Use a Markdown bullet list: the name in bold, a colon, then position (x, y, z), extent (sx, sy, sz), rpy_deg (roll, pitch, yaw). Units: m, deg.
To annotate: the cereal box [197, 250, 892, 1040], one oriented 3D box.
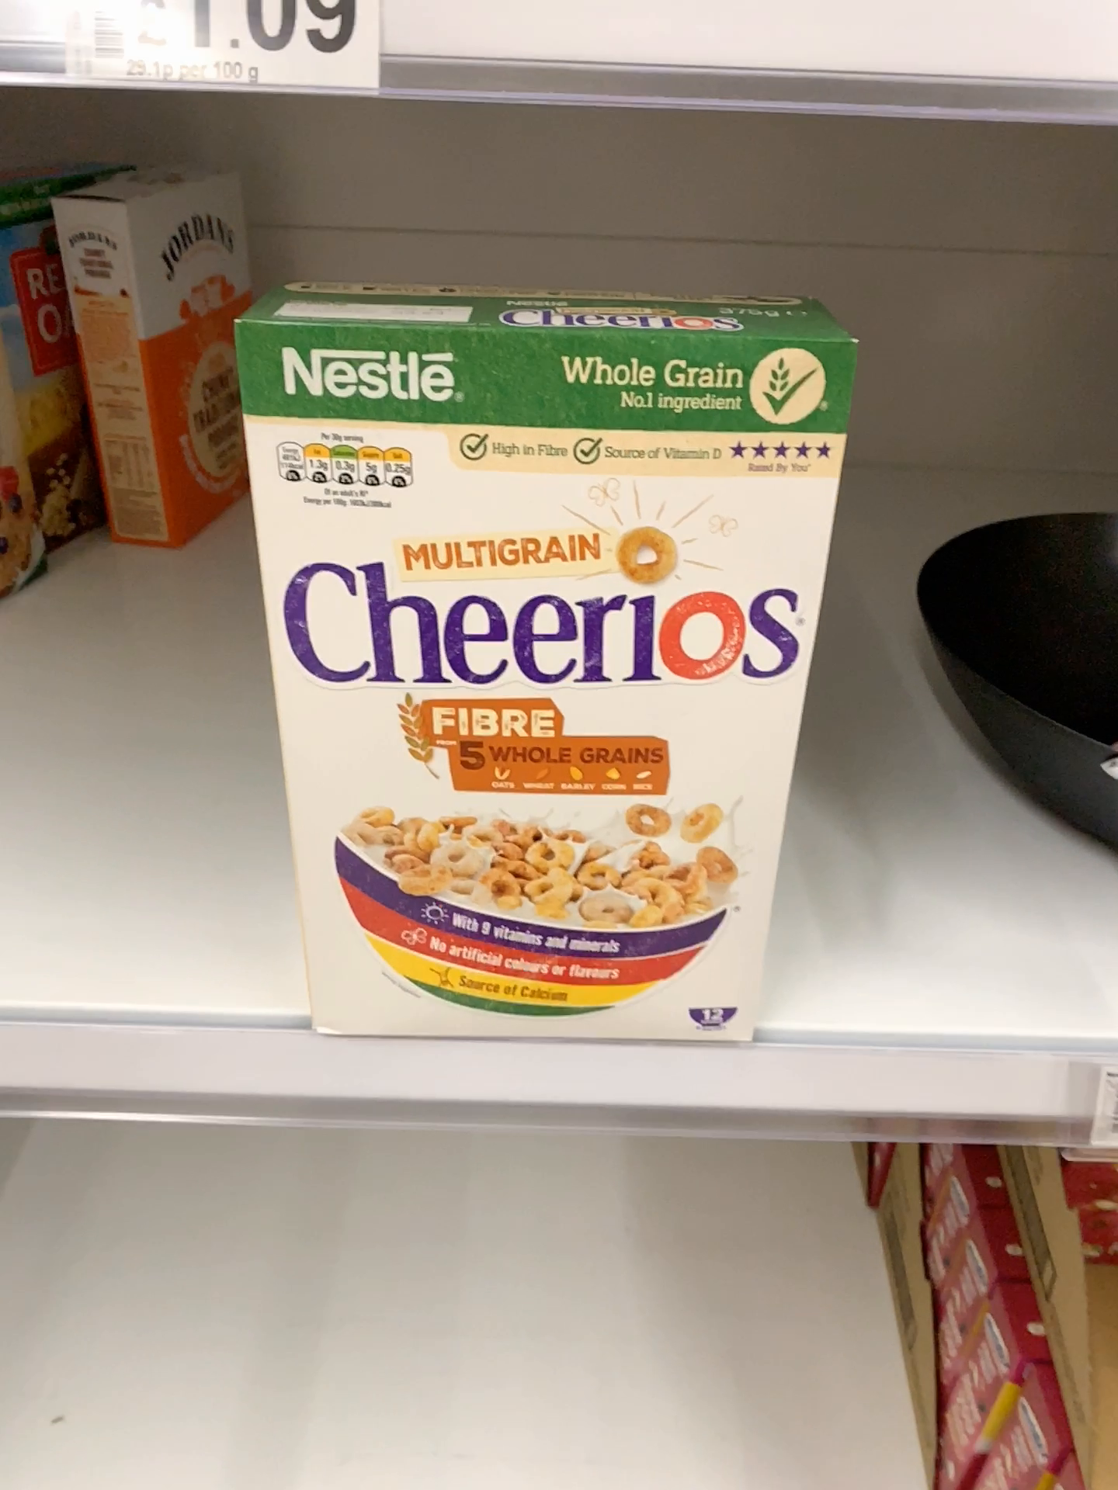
- **cereal box**: position (-0.008, -0.023, 0.433), extent (0.200, 0.288, 0.071), rpy_deg (1, 30, -2)
